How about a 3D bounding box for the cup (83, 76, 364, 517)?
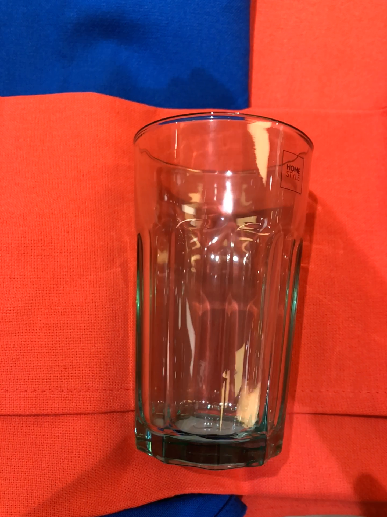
[{"bbox_3d":[0.012,0.016,0.184,0.090,0.070,0.150,4,81,-3],"label":"cup"}]
